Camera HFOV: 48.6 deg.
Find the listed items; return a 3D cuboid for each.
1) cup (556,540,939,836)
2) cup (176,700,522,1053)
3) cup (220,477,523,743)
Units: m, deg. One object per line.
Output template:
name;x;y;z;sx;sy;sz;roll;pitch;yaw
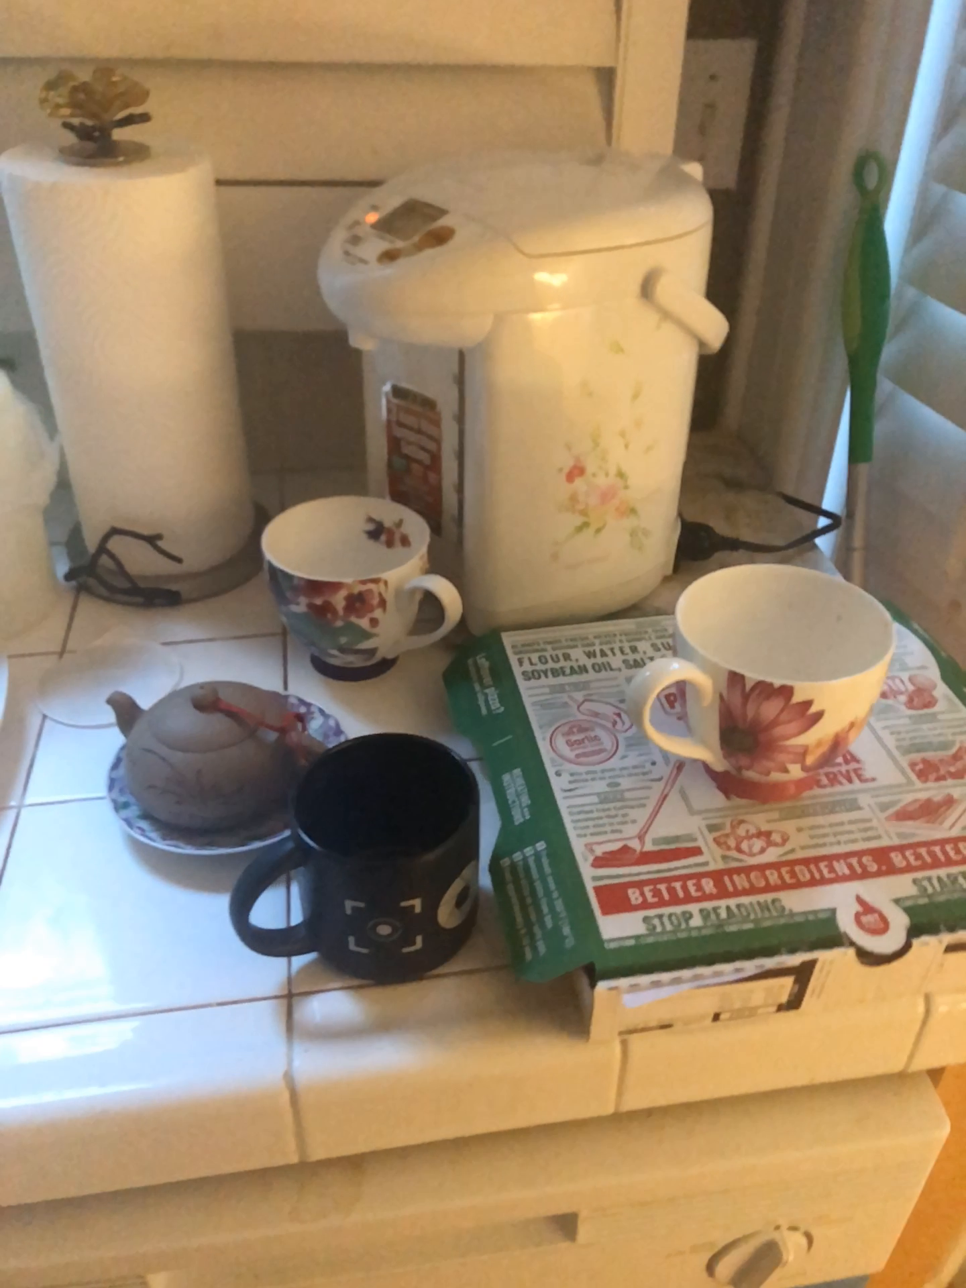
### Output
cup;0.132;0.017;0.559;0.150;0.069;0.111;-14;38;-20
cup;-0.065;0.112;0.537;0.140;0.099;0.090;-16;39;-22
cup;-0.072;-0.029;0.713;0.160;0.089;0.111;23;41;27
